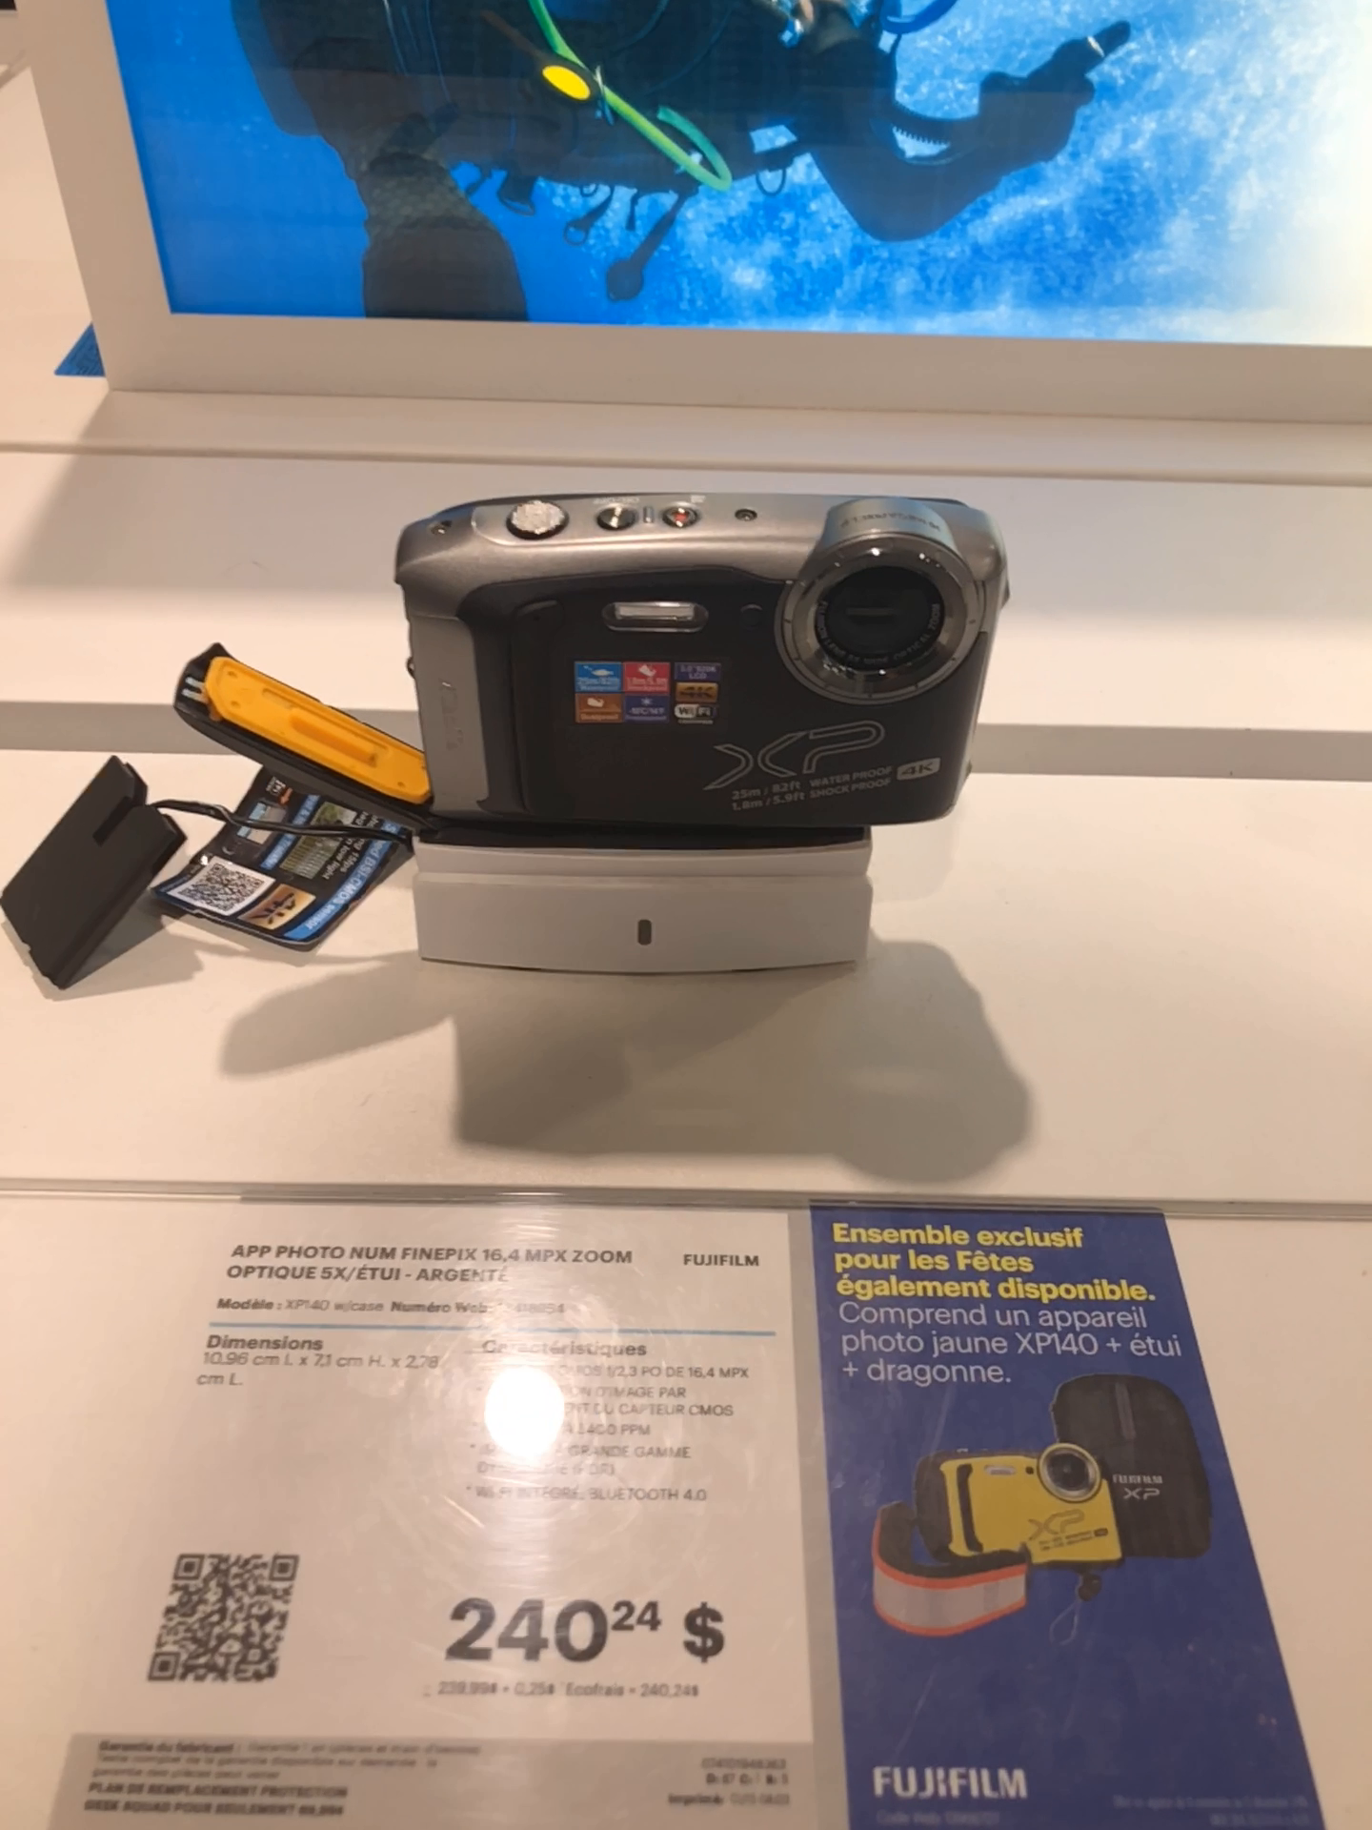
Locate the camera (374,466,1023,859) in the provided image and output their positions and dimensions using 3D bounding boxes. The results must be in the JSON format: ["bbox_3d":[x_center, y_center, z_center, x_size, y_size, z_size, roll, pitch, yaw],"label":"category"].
[{"bbox_3d":[0.001,-0.045,0.280,0.106,0.069,0.023,-1,42,-2],"label":"camera"}]
